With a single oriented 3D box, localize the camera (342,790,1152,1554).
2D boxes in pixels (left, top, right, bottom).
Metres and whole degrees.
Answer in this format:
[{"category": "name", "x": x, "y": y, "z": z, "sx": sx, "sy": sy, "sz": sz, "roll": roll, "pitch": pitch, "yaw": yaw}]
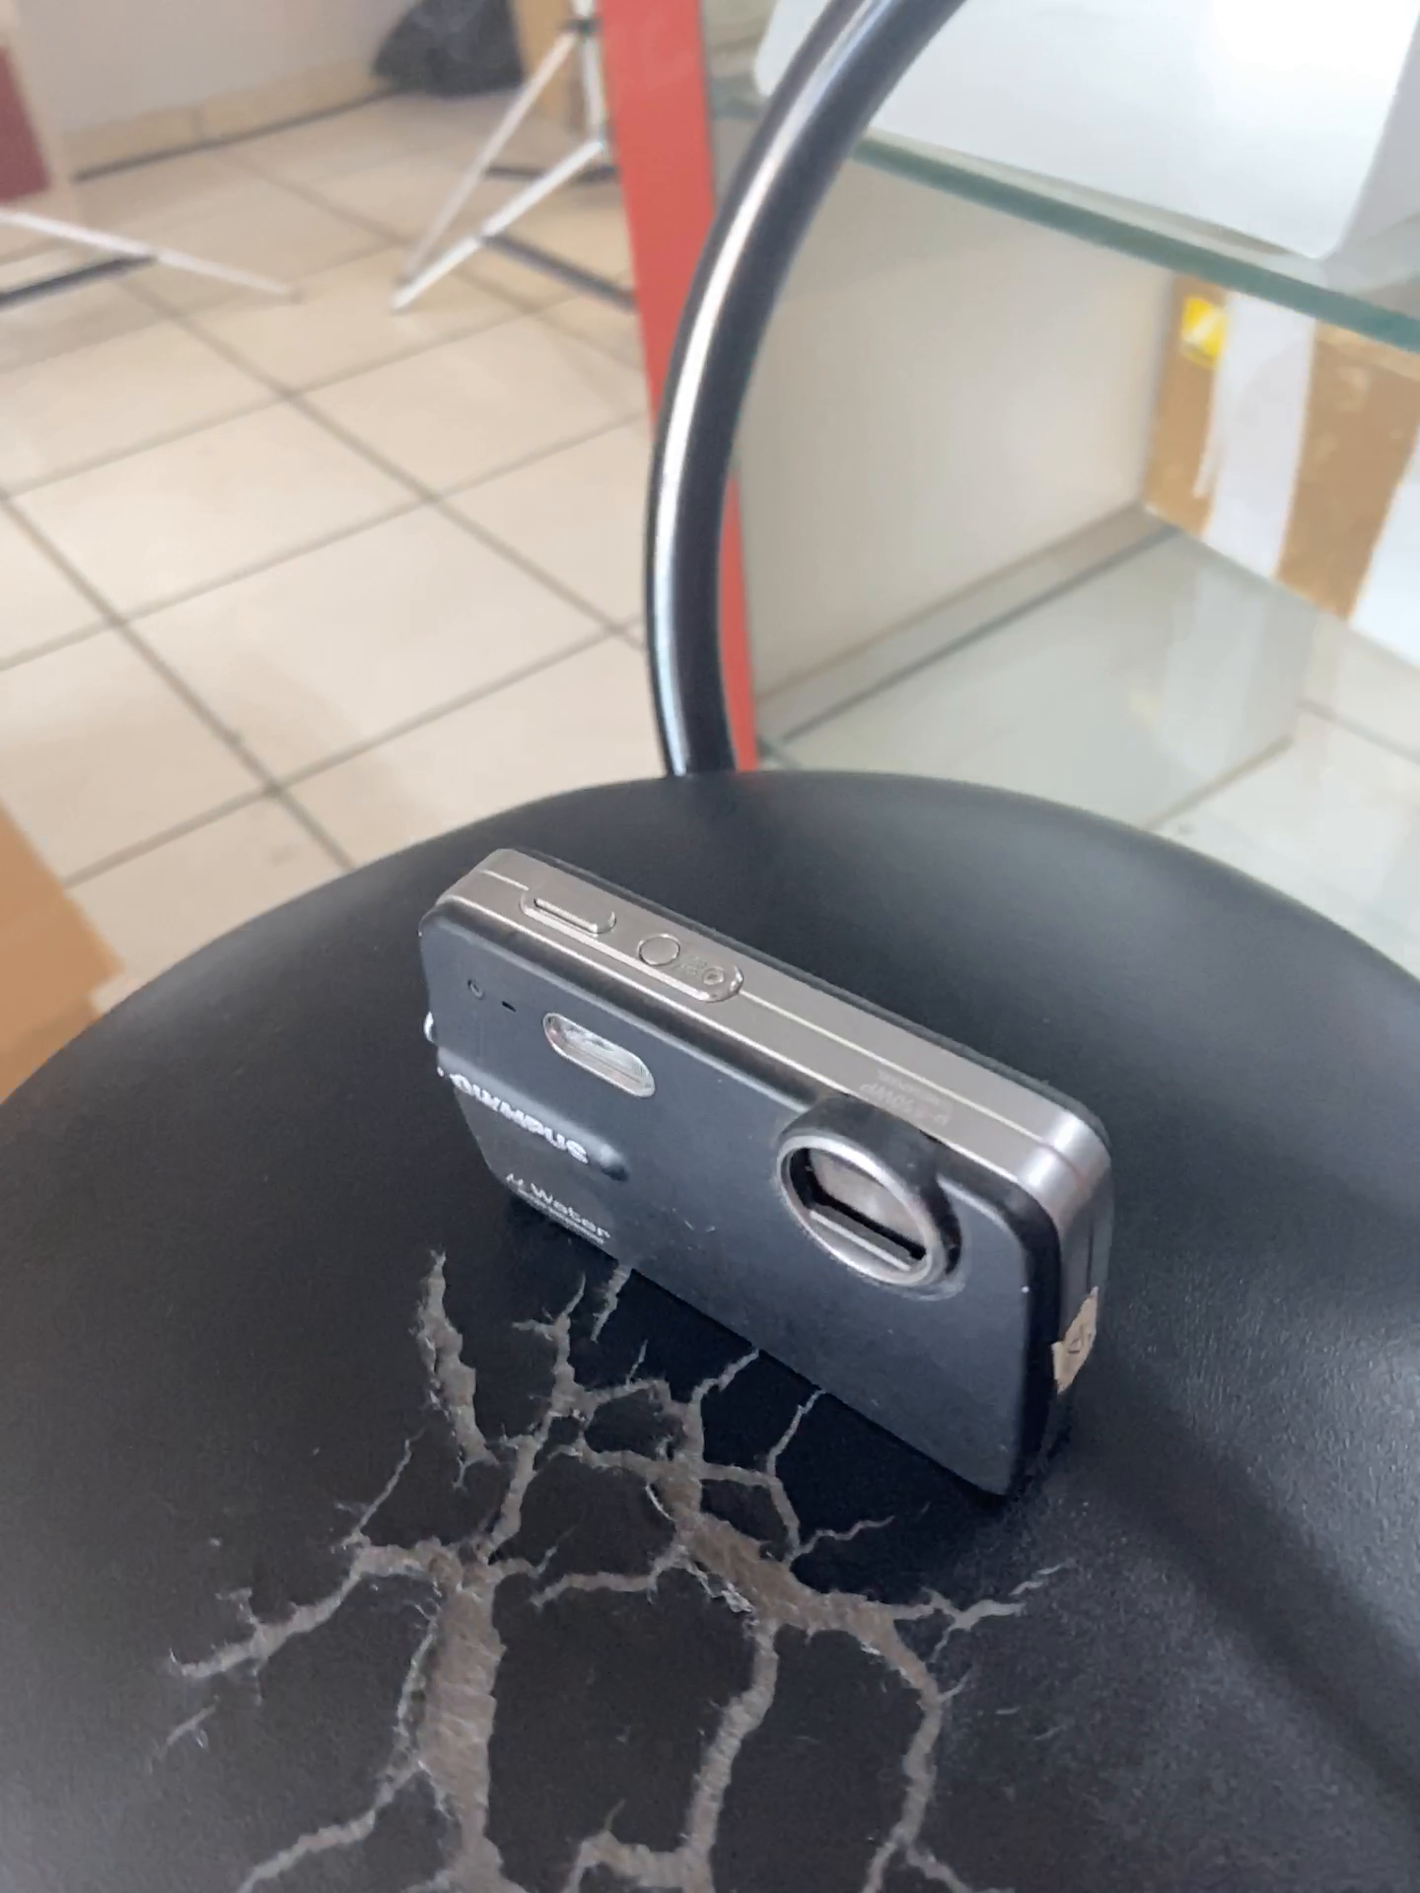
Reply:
[{"category": "camera", "x": 0.002, "y": 0.027, "z": 0.200, "sx": 0.100, "sy": 0.060, "sz": 0.030, "roll": 26, "pitch": 52, "yaw": 29}]
